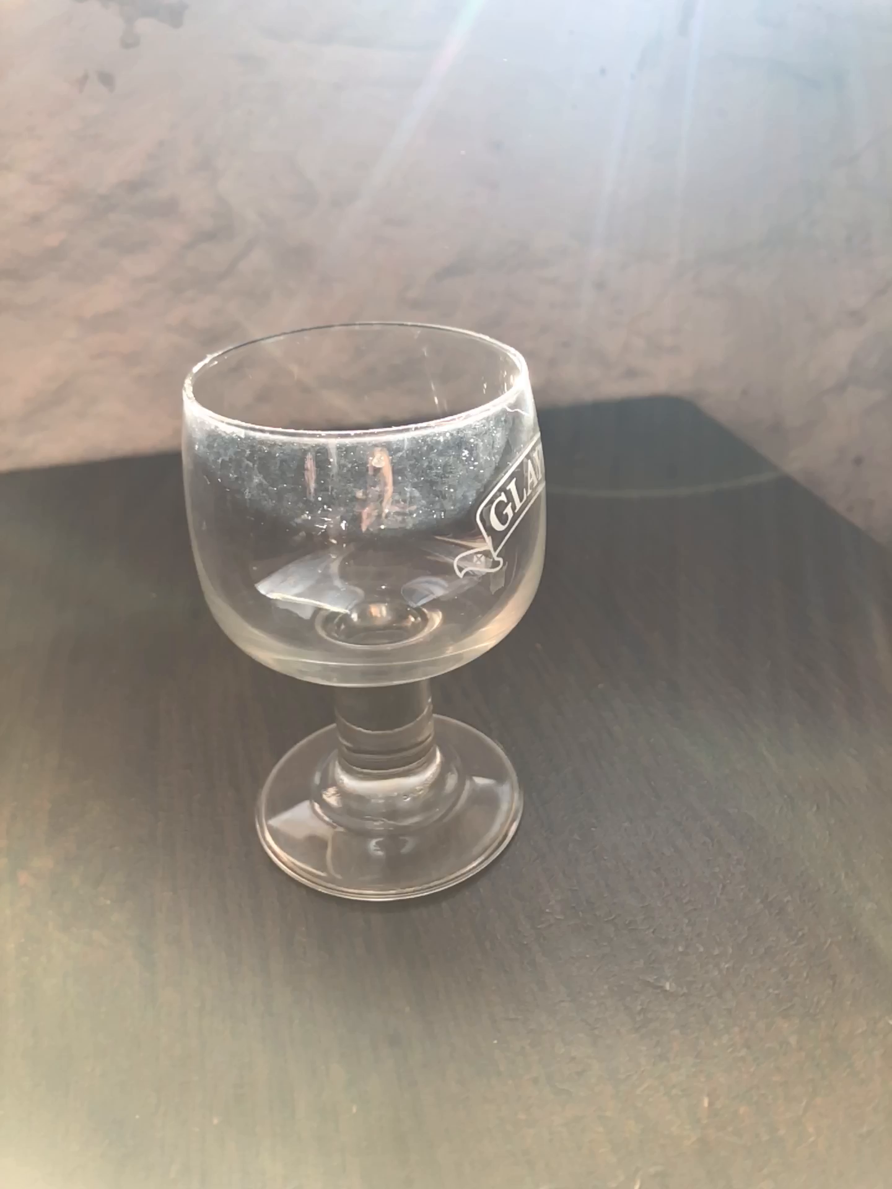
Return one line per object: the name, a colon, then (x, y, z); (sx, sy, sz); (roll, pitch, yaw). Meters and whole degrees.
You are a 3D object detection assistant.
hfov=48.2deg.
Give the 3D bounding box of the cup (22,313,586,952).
cup: (-0.021, 0.002, 0.223); (0.085, 0.107, 0.078); (-2, 28, 1)
